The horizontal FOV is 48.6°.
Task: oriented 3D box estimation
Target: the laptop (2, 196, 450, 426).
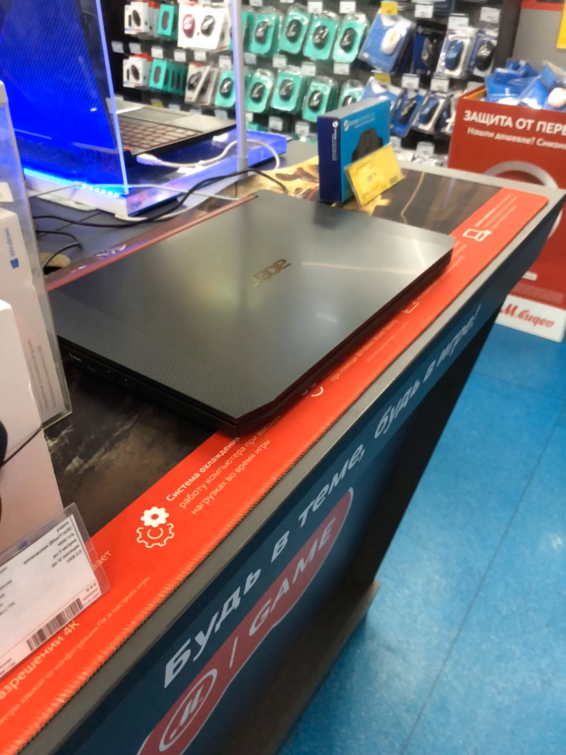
[{"bbox_3d":[-0.028,-0.093,0.570,0.243,0.005,0.352,22,39,27],"label":"laptop"}]
